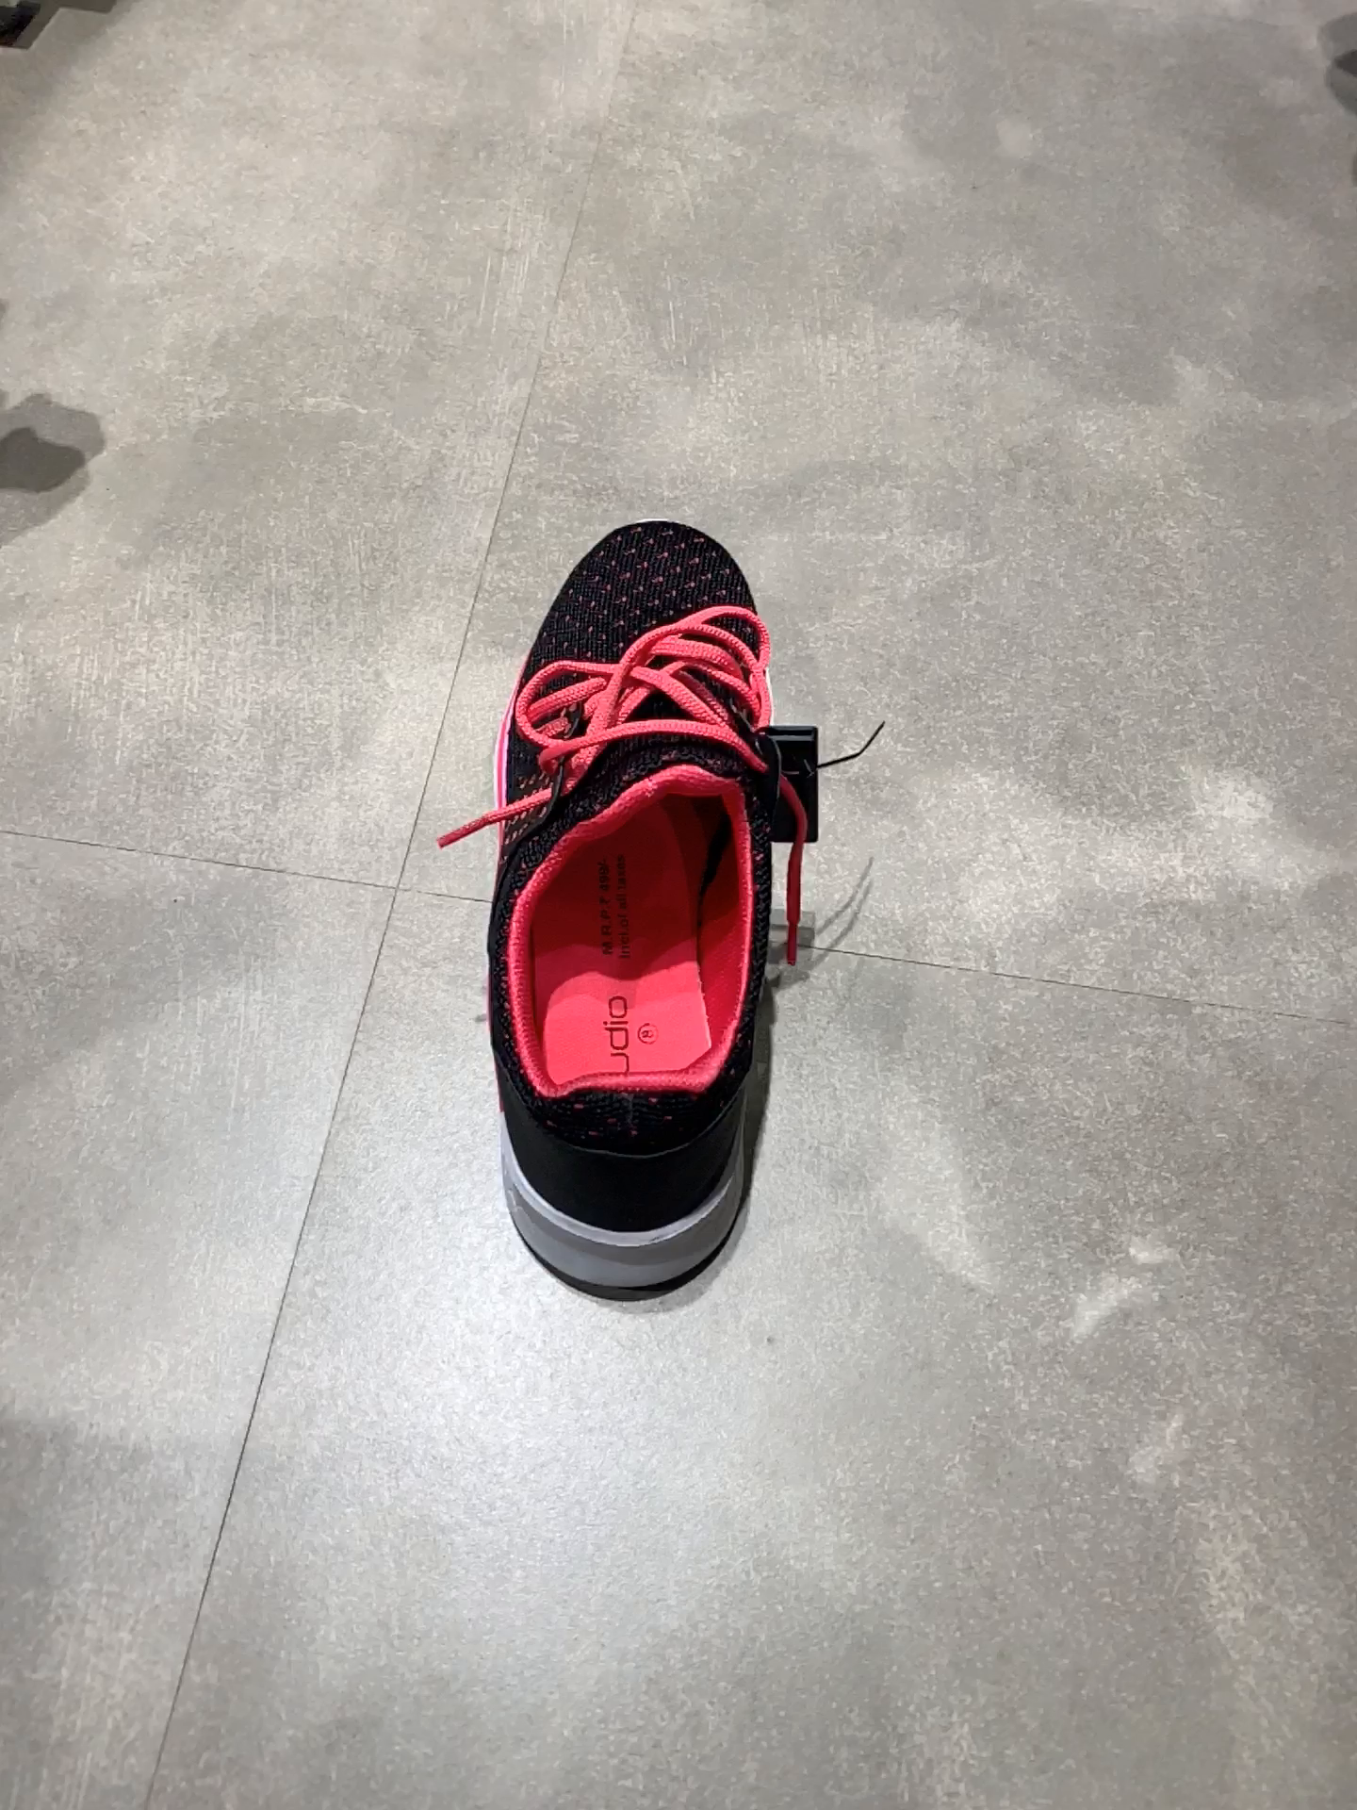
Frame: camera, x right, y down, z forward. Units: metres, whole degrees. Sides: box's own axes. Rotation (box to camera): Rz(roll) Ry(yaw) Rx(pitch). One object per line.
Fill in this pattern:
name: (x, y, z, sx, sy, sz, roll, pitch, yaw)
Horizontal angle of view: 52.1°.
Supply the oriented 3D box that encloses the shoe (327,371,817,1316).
shoe: (-0.021, -0.023, 0.422, 0.110, 0.110, 0.263, 3, 62, -1)
